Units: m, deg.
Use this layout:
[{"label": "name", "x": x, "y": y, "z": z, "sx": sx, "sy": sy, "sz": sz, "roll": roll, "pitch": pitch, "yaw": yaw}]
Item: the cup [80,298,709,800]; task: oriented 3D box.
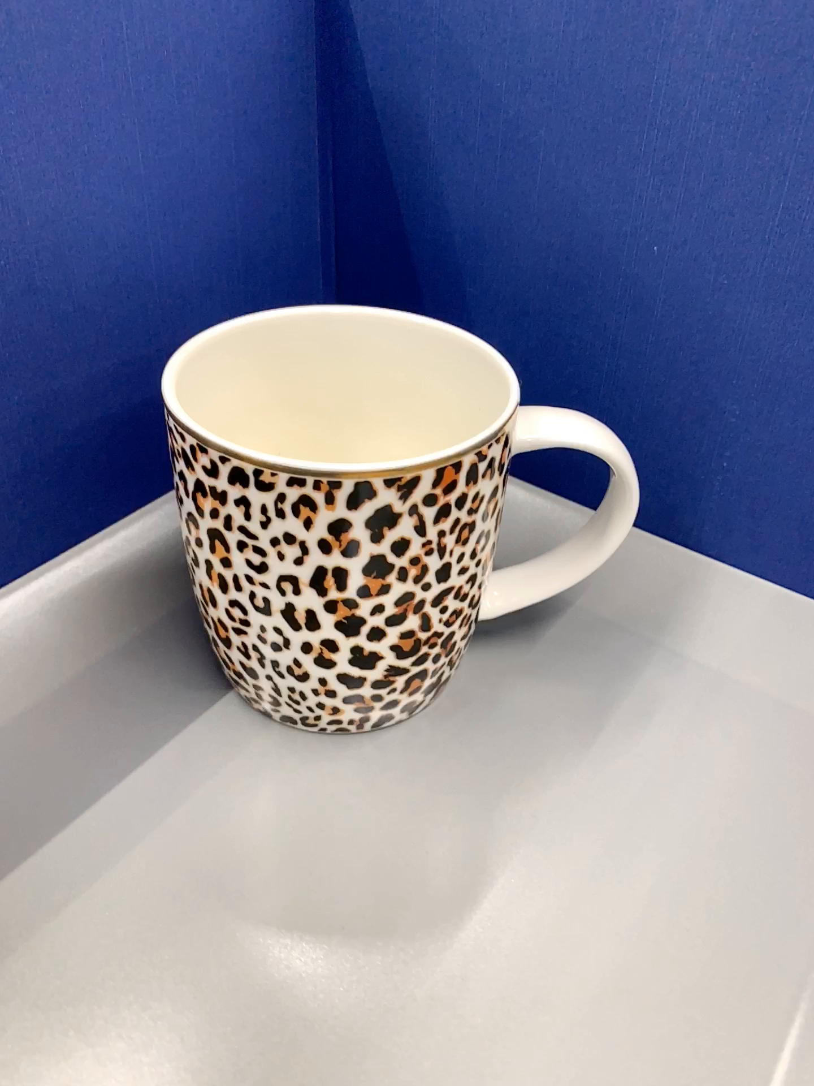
[{"label": "cup", "x": -0.007, "y": -0.004, "z": 0.236, "sx": 0.126, "sy": 0.095, "sz": 0.099, "roll": -2, "pitch": 35, "yaw": -6}]
